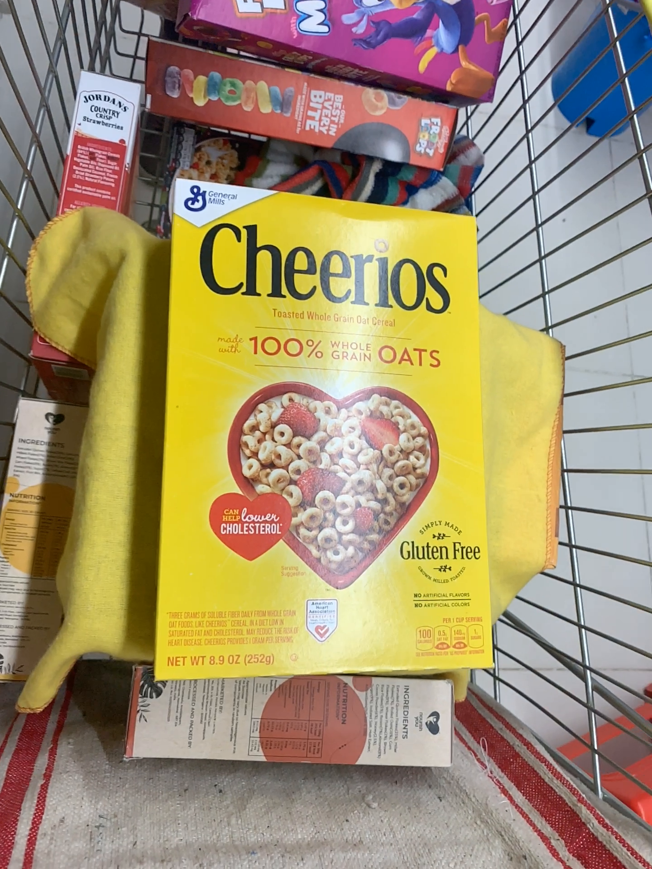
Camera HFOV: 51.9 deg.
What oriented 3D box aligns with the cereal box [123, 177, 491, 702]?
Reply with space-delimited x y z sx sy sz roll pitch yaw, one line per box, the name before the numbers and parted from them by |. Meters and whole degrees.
cereal box | -0.011 0.002 0.391 0.190 0.060 0.270 2 80 -13
